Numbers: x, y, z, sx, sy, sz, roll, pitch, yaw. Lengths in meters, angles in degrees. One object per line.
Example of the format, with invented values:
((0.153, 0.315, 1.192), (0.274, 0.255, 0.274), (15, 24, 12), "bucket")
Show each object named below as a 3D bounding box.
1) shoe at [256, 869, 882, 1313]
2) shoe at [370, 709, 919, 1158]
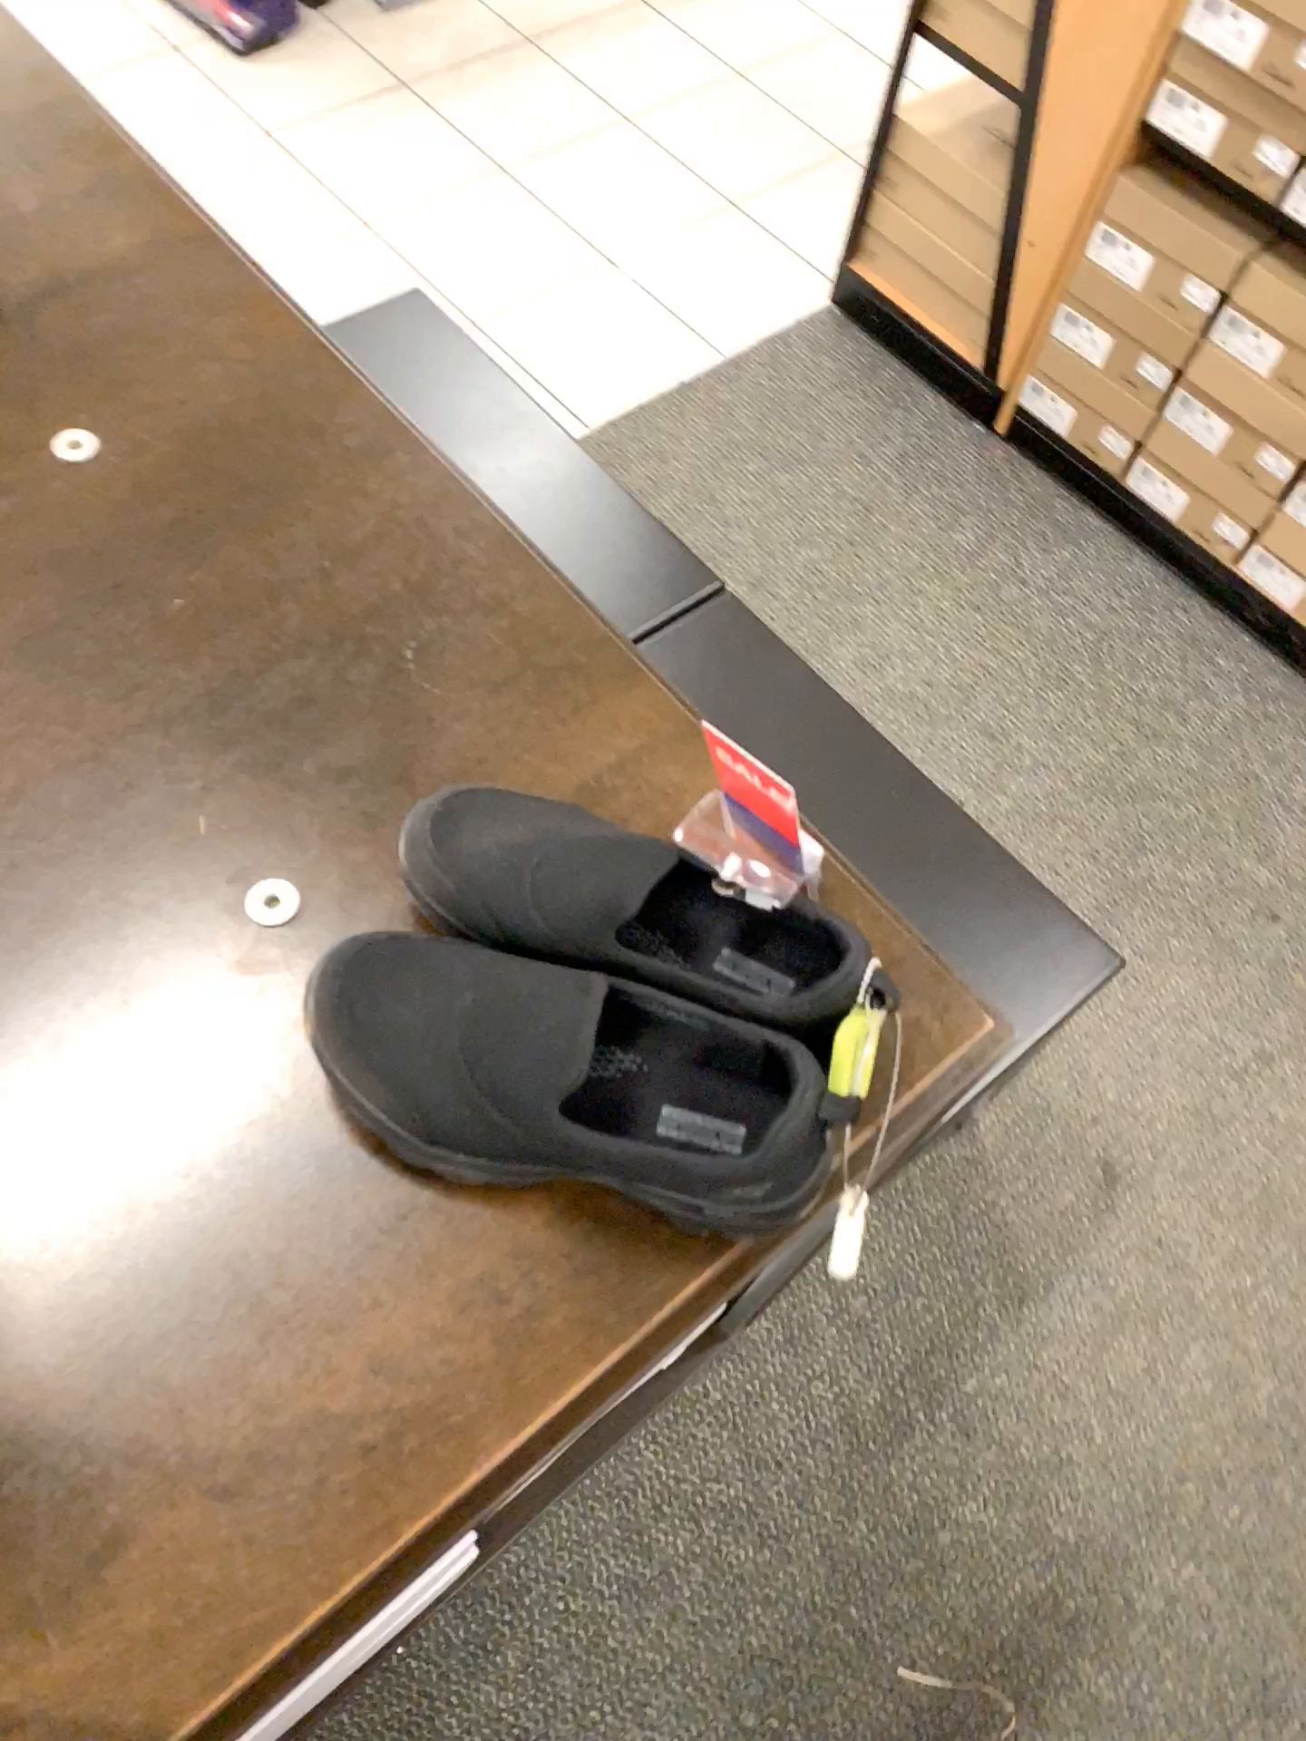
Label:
((-0.037, 0.103, 0.599), (0.244, 0.110, 0.094), (18, 60, 3), "shoe")
((-0.008, 0.033, 0.641), (0.230, 0.110, 0.094), (24, 60, 6), "shoe")
